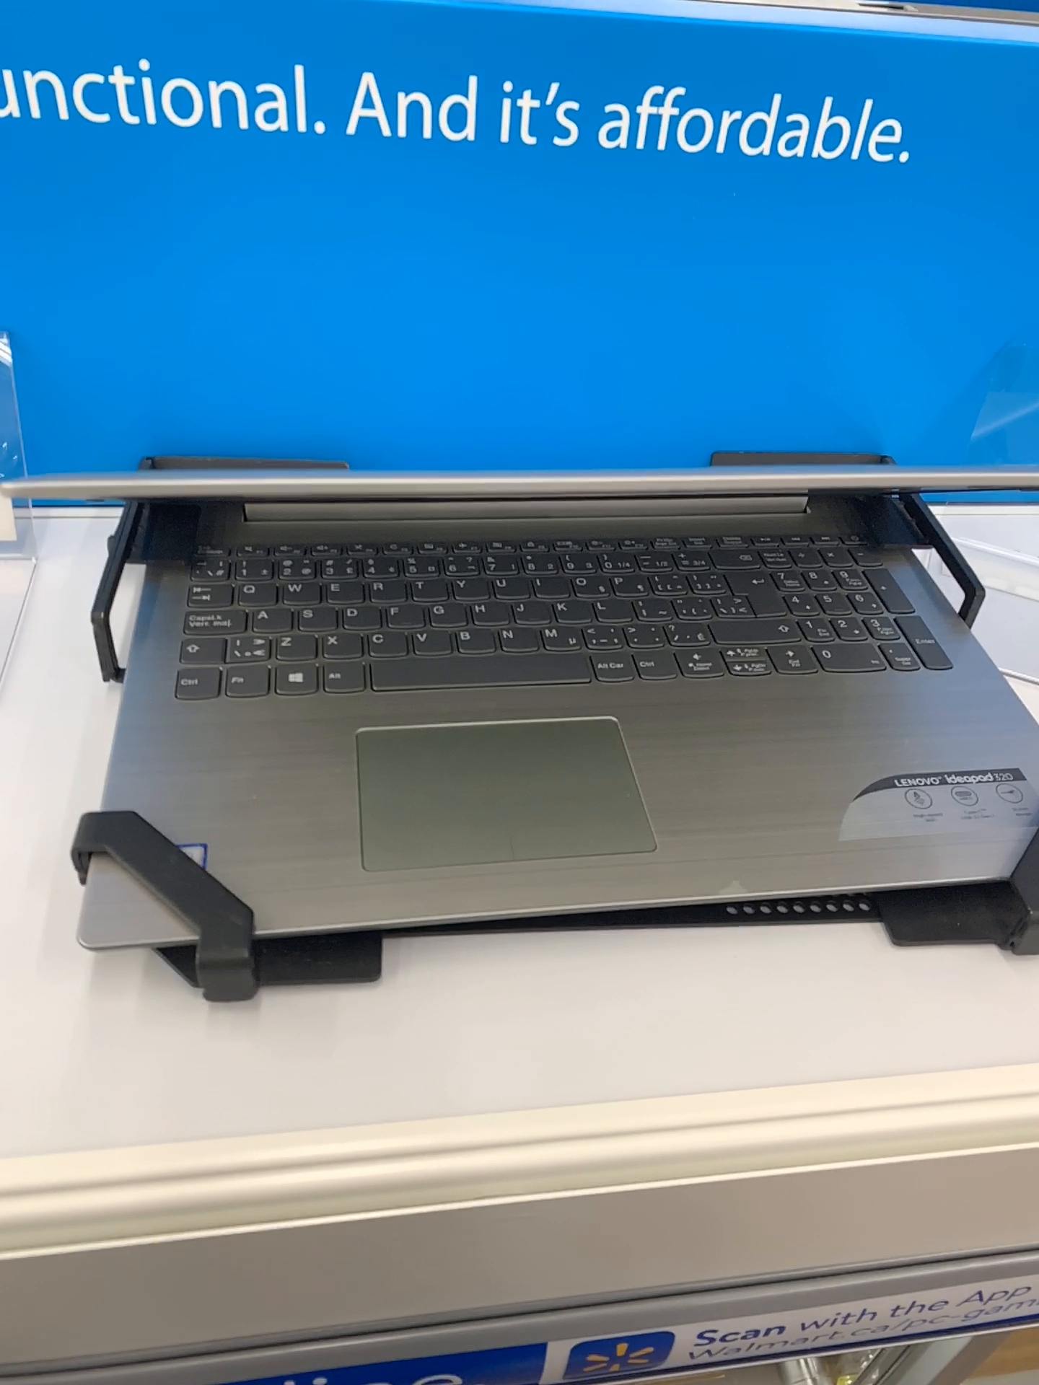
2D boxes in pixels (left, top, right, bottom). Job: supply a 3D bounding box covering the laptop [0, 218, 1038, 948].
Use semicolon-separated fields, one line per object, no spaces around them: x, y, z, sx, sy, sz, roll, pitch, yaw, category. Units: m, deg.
0.029;-0.058;0.364;0.326;0.115;0.230;-2;42;-10;laptop
